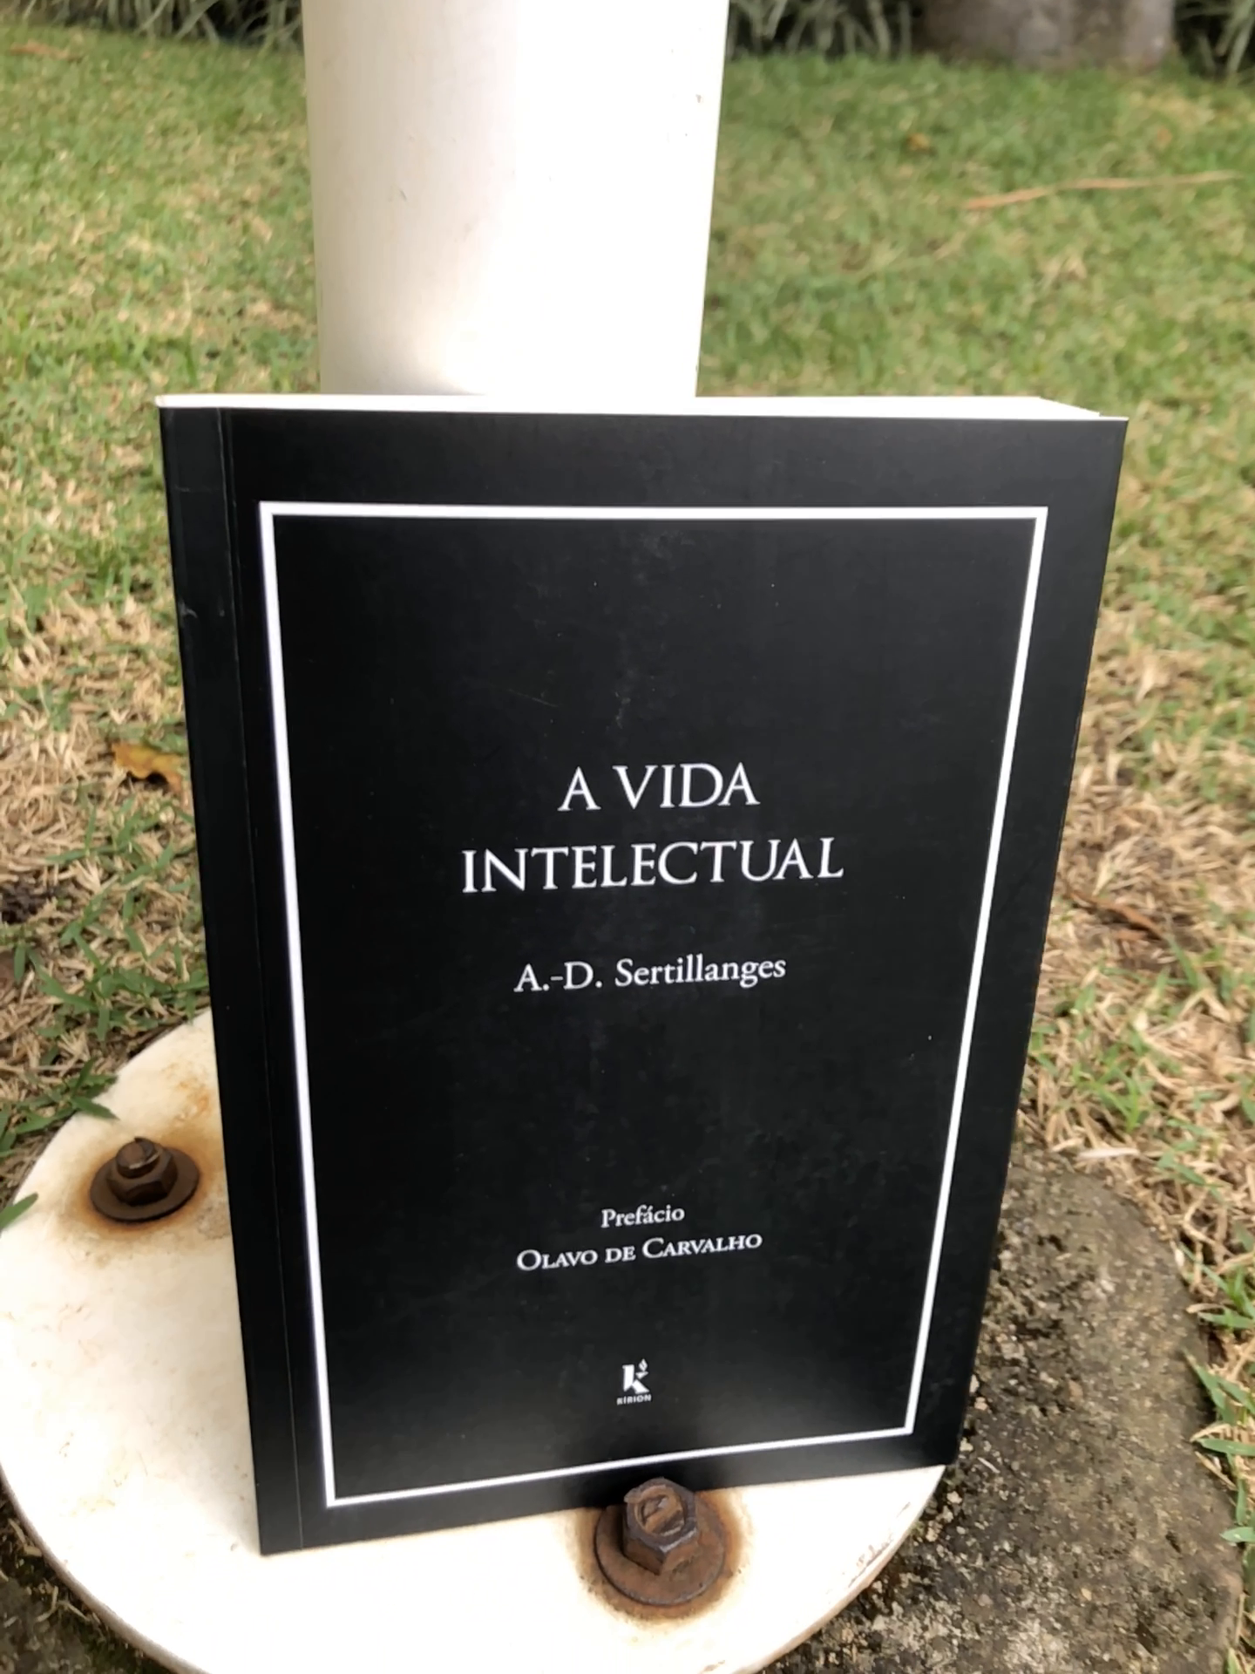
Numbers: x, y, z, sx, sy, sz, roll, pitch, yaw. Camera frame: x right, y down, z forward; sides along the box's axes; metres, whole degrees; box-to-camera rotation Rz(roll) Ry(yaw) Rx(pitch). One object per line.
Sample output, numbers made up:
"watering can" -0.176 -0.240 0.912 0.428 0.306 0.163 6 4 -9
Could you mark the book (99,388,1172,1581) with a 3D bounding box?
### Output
"book" 0.002 0.030 0.227 0.140 0.193 0.025 -3 22 -10
